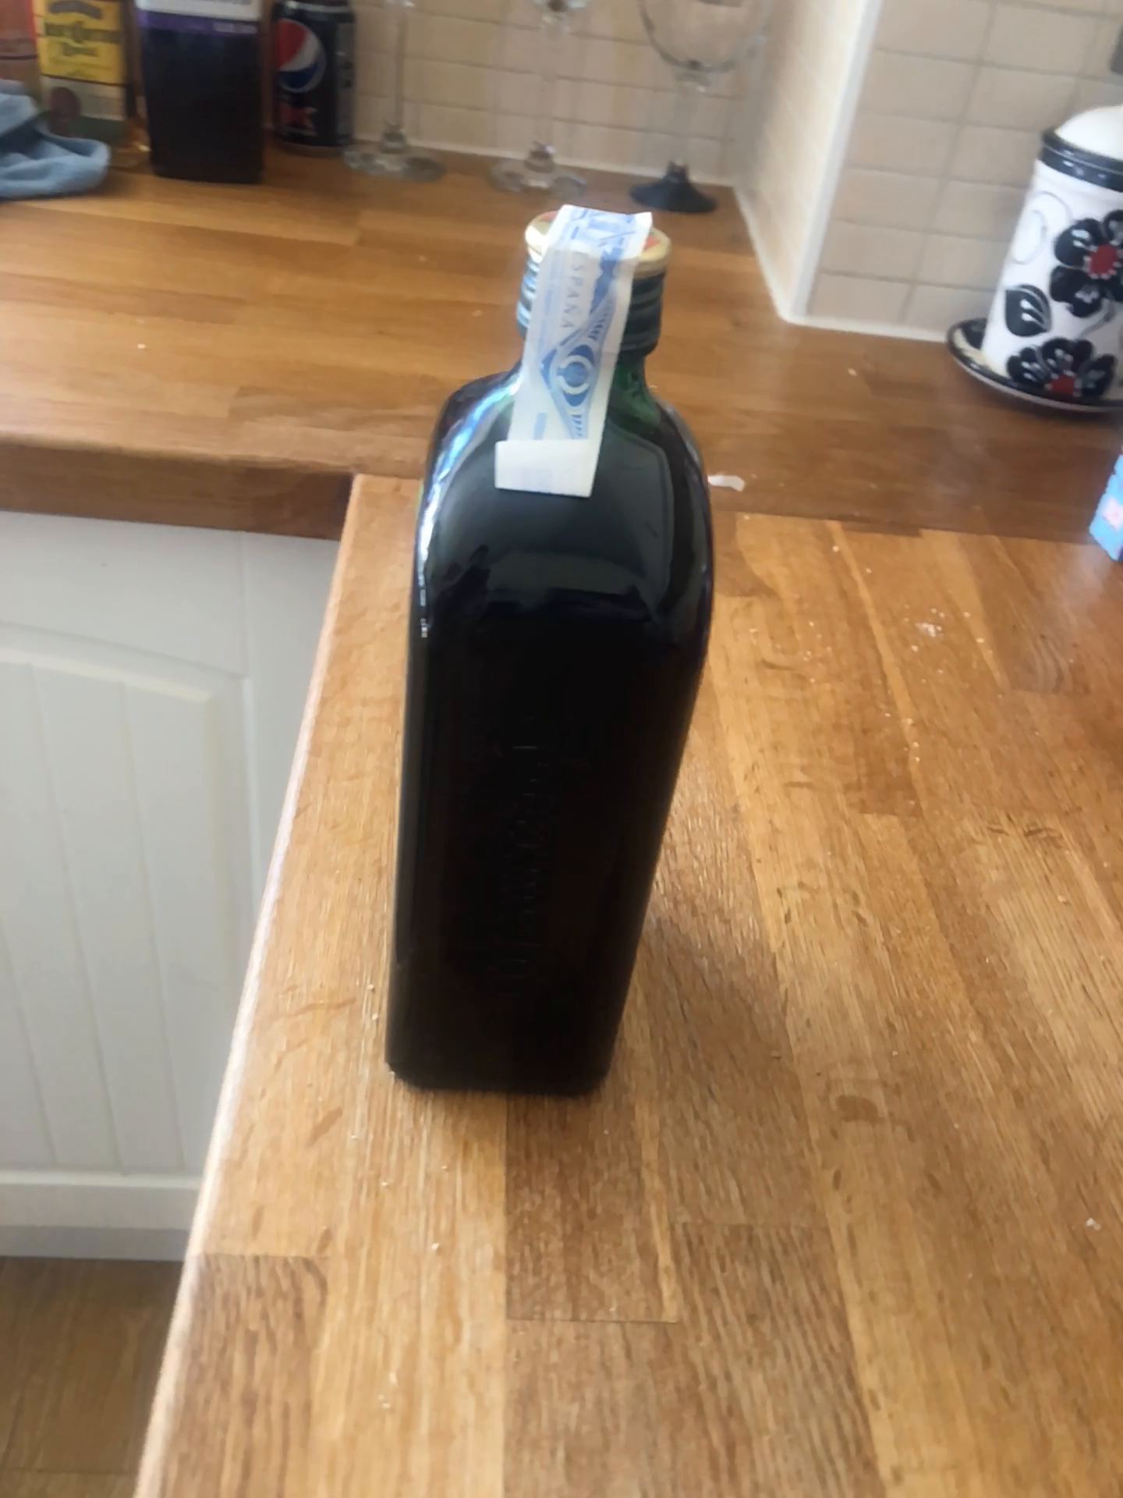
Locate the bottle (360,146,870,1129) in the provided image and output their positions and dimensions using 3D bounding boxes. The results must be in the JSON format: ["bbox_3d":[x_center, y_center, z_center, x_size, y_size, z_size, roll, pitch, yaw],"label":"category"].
[{"bbox_3d":[-0.001,-0.016,0.311,0.080,0.218,0.101,6,38,-4],"label":"bottle"}]
